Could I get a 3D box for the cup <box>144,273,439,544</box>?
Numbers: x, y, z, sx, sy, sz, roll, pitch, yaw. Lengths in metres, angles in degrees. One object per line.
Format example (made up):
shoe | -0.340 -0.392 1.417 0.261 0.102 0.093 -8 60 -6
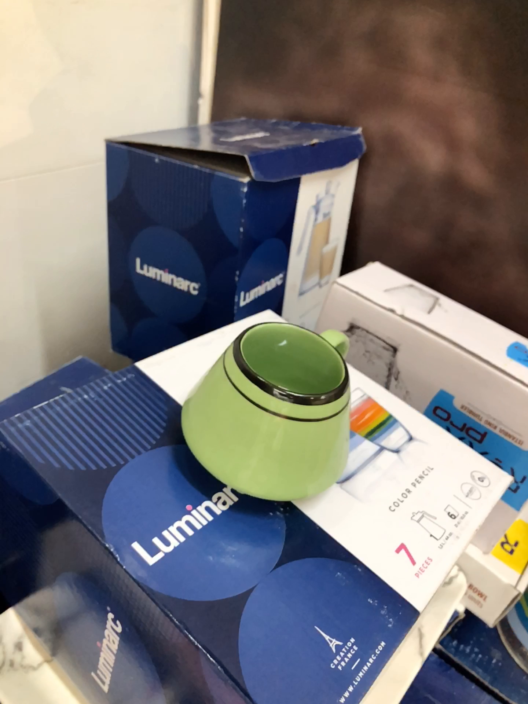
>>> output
cup | 0.018 0.022 0.364 0.110 0.069 0.141 31 39 29
